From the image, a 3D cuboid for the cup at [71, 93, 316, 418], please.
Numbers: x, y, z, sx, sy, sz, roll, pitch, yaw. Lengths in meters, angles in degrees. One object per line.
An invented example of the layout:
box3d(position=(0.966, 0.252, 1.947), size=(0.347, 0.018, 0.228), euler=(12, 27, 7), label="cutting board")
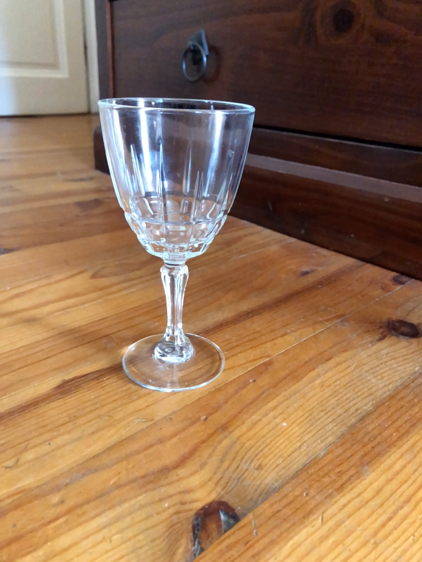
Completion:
box3d(position=(-0.014, -0.022, 0.253), size=(0.084, 0.141, 0.085), euler=(3, 24, -1), label="cup")
